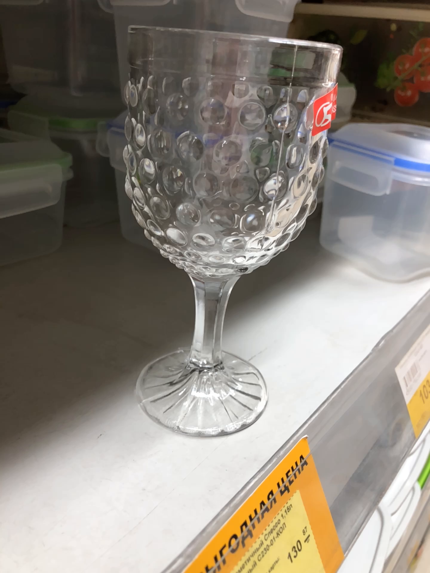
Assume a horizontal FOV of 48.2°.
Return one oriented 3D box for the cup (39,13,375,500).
[{"bbox_3d":[-0.006,-0.018,0.201,0.086,0.160,0.081,4,25,-2],"label":"cup"}]
